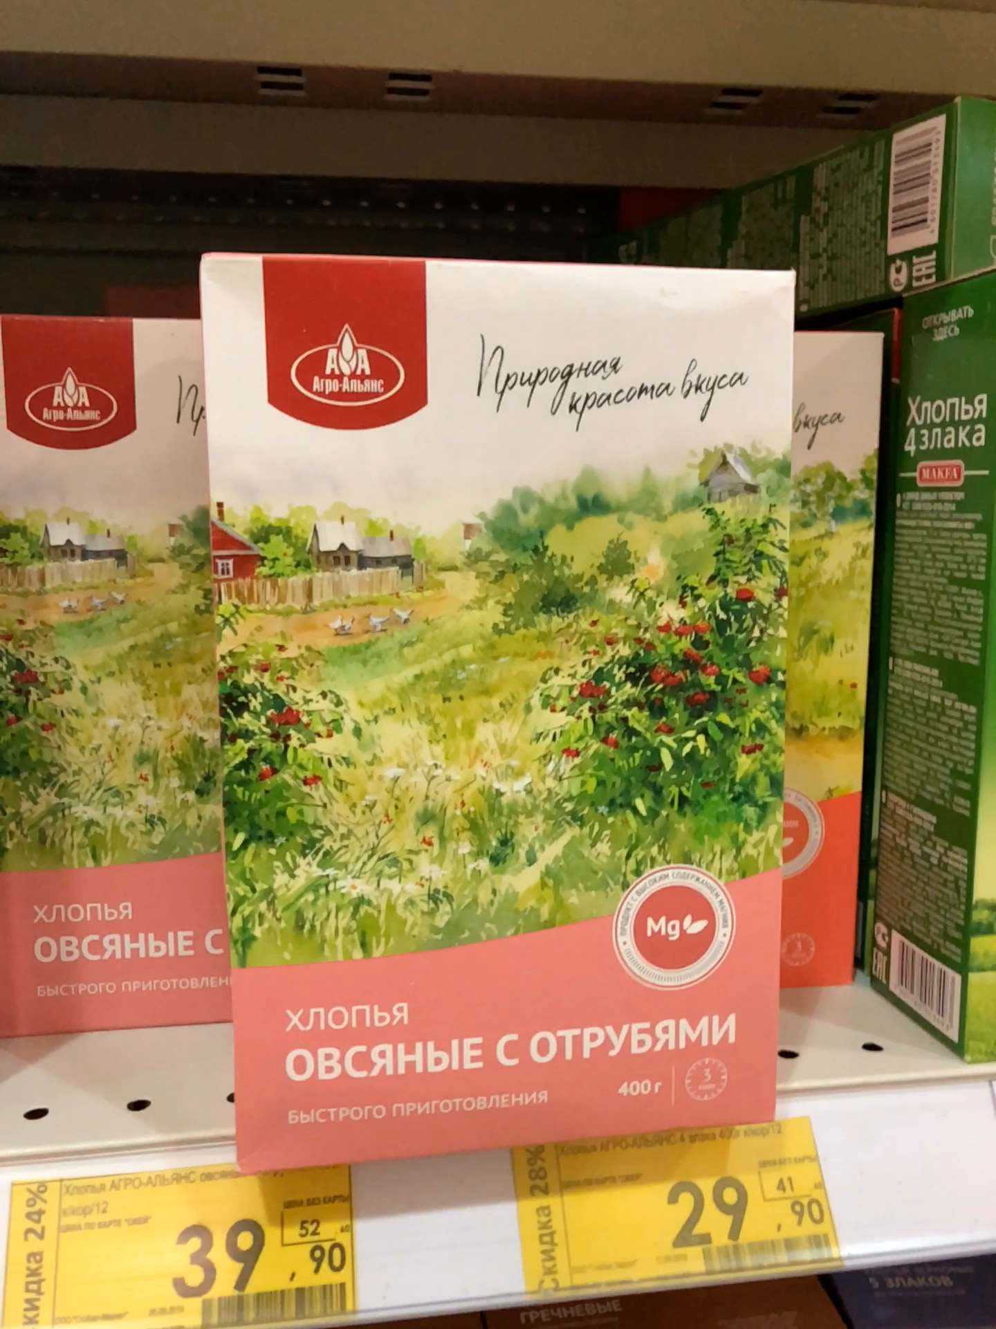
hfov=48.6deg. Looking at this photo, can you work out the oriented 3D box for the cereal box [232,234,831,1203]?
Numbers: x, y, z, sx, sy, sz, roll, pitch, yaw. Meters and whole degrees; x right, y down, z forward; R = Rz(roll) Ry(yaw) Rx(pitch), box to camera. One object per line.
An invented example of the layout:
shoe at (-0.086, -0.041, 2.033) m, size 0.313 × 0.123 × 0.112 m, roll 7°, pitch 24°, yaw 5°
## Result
cereal box at (0.005, 0.011, 0.276) m, size 0.130 × 0.210 × 0.060 m, roll -1°, pitch 7°, yaw -10°
